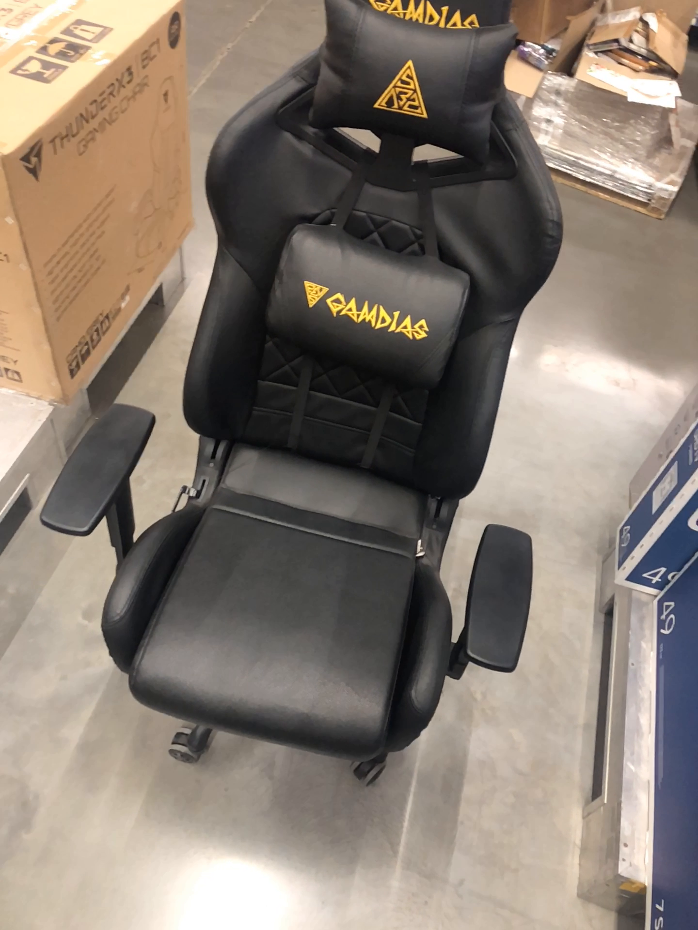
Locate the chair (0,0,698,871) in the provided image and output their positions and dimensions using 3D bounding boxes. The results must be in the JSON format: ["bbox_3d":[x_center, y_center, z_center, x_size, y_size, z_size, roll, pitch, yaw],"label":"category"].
[{"bbox_3d":[-0.032,-0.014,1.207,0.740,1.282,0.785,14,51,3],"label":"chair"}]
